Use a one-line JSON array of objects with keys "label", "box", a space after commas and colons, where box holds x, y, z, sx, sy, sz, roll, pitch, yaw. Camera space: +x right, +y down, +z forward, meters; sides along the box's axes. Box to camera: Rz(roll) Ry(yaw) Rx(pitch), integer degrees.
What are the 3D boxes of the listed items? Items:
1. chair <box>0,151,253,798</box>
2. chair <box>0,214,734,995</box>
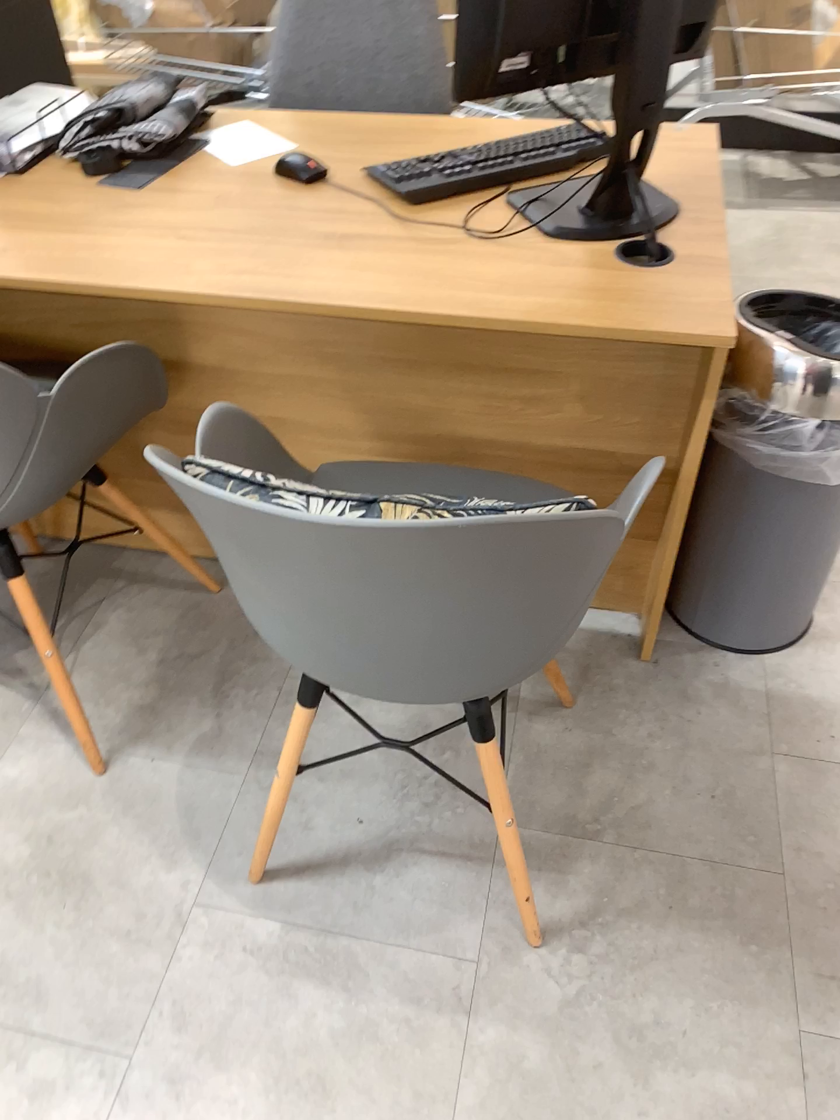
[{"label": "chair", "box": [-0.714, -0.125, 1.380, 0.588, 0.809, 0.551, 8, 45, 11]}, {"label": "chair", "box": [0.010, 0.075, 1.133, 0.598, 0.809, 0.551, 8, 45, 11]}]
